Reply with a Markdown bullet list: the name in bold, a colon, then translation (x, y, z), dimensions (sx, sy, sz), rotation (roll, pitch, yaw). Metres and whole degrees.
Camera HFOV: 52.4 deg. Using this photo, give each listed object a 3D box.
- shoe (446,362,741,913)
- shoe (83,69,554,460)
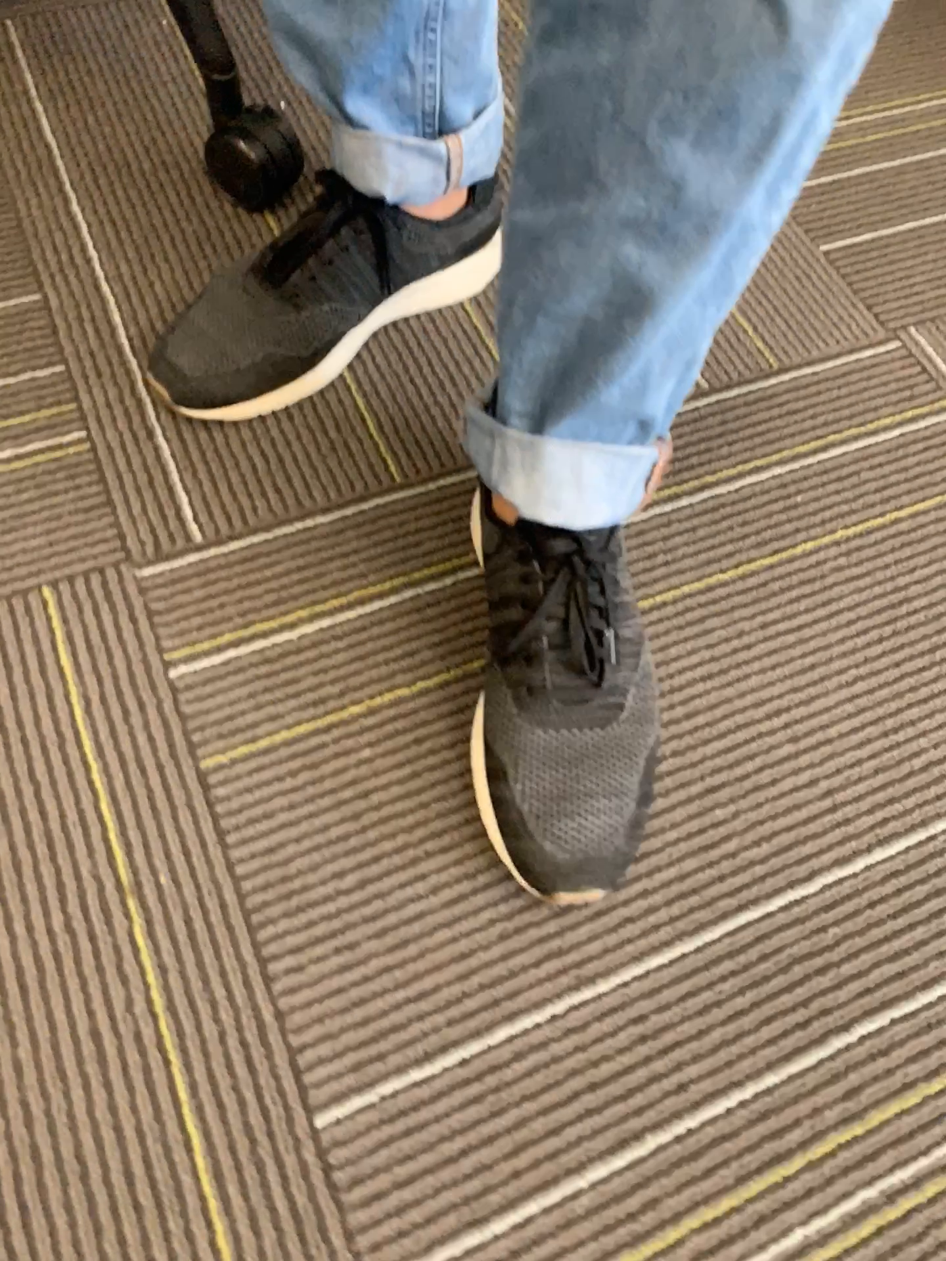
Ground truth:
- **shoe**: translation (0.054, -0.004, 0.568), dimensions (0.112, 0.106, 0.307), rotation (-2, 63, -7)
- **shoe**: translation (-0.097, -0.266, 0.685), dimensions (0.306, 0.106, 0.110), rotation (-38, 72, -21)
